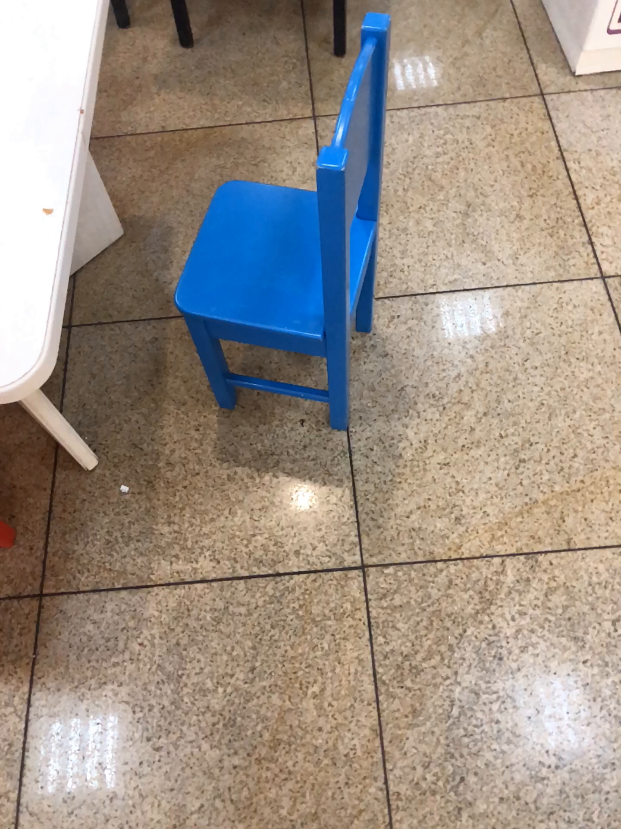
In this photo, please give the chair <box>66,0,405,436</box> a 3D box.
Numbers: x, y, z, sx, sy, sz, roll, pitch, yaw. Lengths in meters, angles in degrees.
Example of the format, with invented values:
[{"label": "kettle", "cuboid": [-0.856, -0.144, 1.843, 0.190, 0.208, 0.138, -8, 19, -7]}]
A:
[{"label": "chair", "cuboid": [-0.063, -0.265, 1.086, 0.330, 0.649, 0.290, 11, 64, 9]}]
